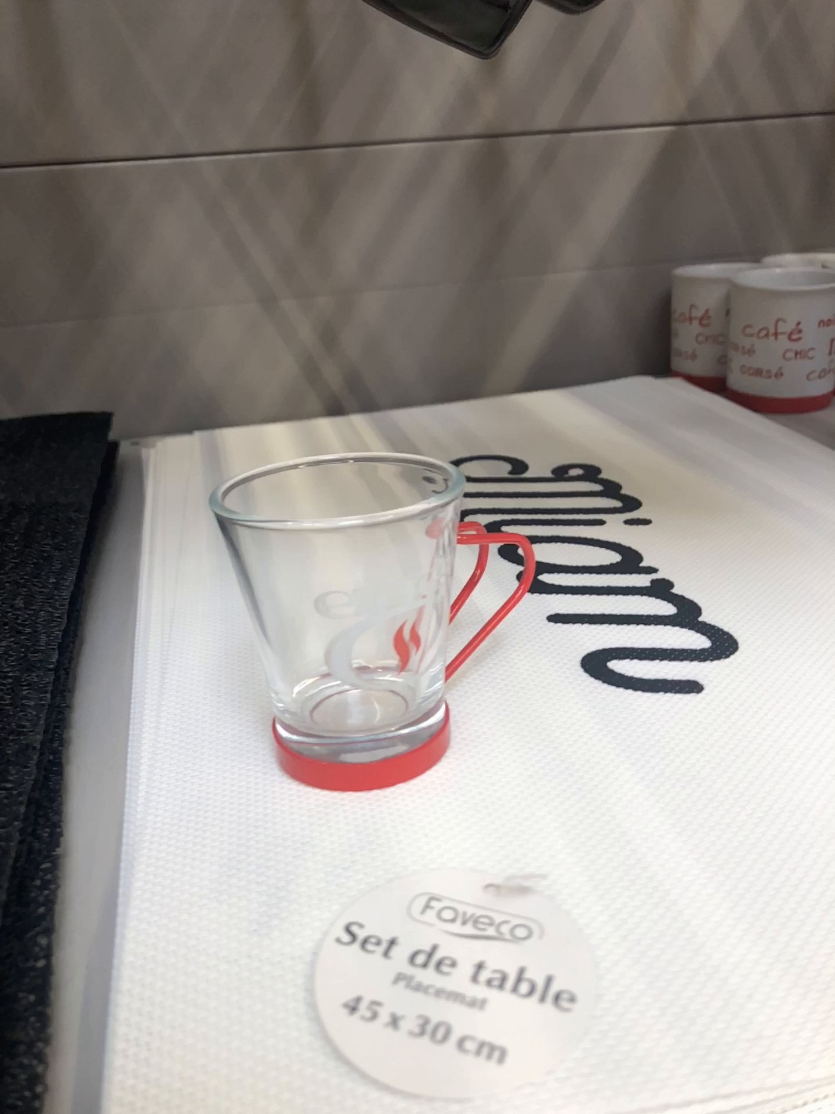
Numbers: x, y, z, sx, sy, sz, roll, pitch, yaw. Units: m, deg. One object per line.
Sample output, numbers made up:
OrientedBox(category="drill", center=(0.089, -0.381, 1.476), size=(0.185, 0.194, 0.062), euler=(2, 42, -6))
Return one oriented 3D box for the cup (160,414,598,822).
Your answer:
OrientedBox(category="cup", center=(-0.004, 0.006, 0.232), size=(0.056, 0.063, 0.093), euler=(11, 25, 39))
